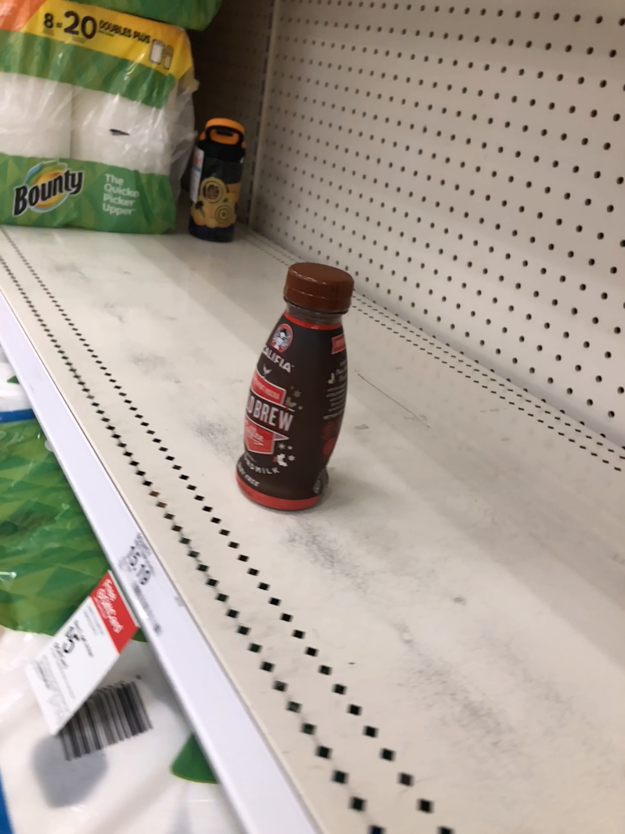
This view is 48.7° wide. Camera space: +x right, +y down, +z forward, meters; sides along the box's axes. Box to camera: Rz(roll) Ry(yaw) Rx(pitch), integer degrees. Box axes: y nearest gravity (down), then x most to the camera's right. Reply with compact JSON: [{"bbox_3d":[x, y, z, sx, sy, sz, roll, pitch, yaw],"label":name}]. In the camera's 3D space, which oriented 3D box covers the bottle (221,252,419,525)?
[{"bbox_3d":[-0.001,-0.020,0.437,0.080,0.149,0.070,-6,30,-28],"label":"bottle"}]
